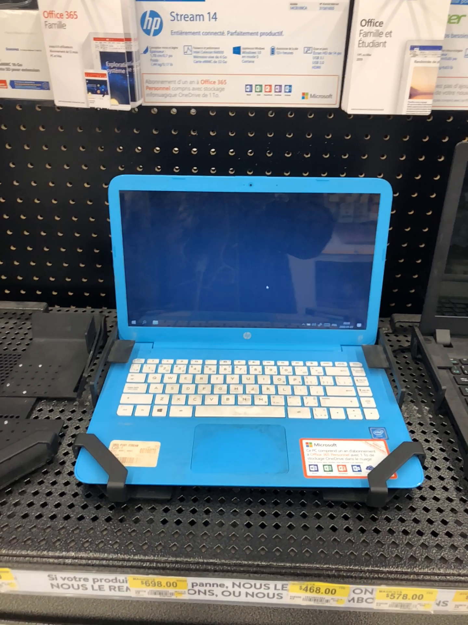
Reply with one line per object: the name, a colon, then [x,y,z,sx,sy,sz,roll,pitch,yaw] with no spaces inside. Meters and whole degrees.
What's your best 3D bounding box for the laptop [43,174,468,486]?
laptop: [0.015,-0.002,0.544,0.318,0.197,0.270,1,33,1]
